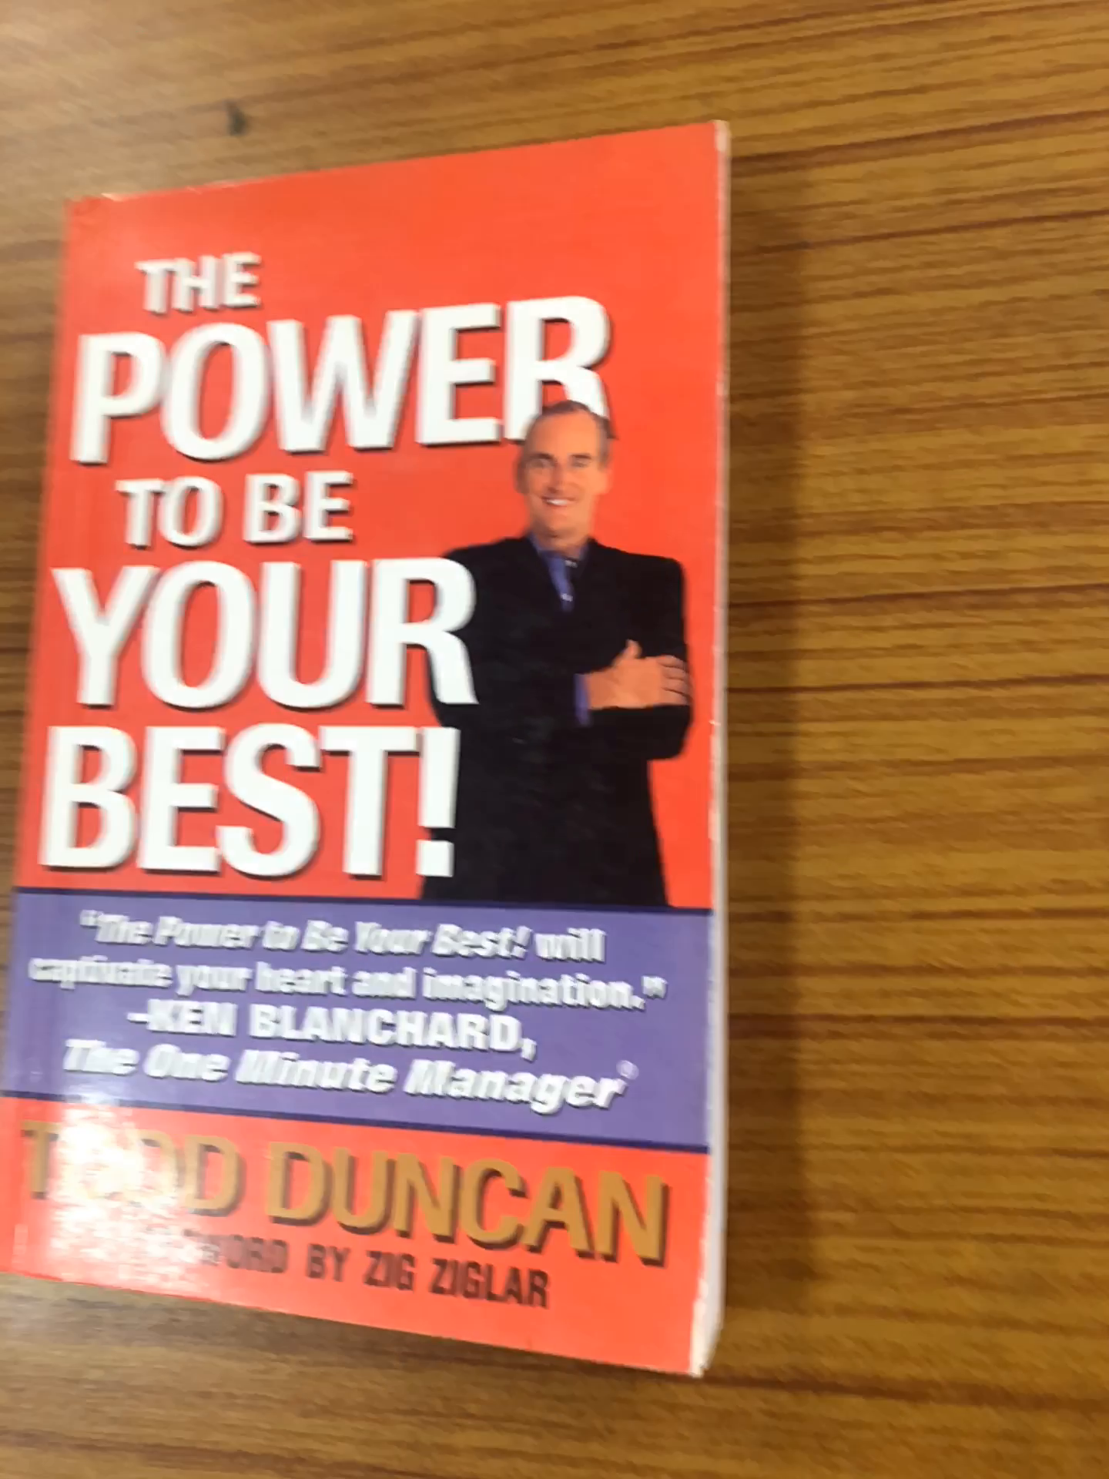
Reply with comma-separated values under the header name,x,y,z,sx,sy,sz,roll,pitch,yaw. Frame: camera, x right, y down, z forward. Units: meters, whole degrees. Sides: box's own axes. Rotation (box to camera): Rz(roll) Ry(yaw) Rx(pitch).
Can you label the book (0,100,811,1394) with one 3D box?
name,x,y,z,sx,sy,sz,roll,pitch,yaw
book,-0.028,-0.003,0.244,0.150,0.030,0.220,0,84,14
